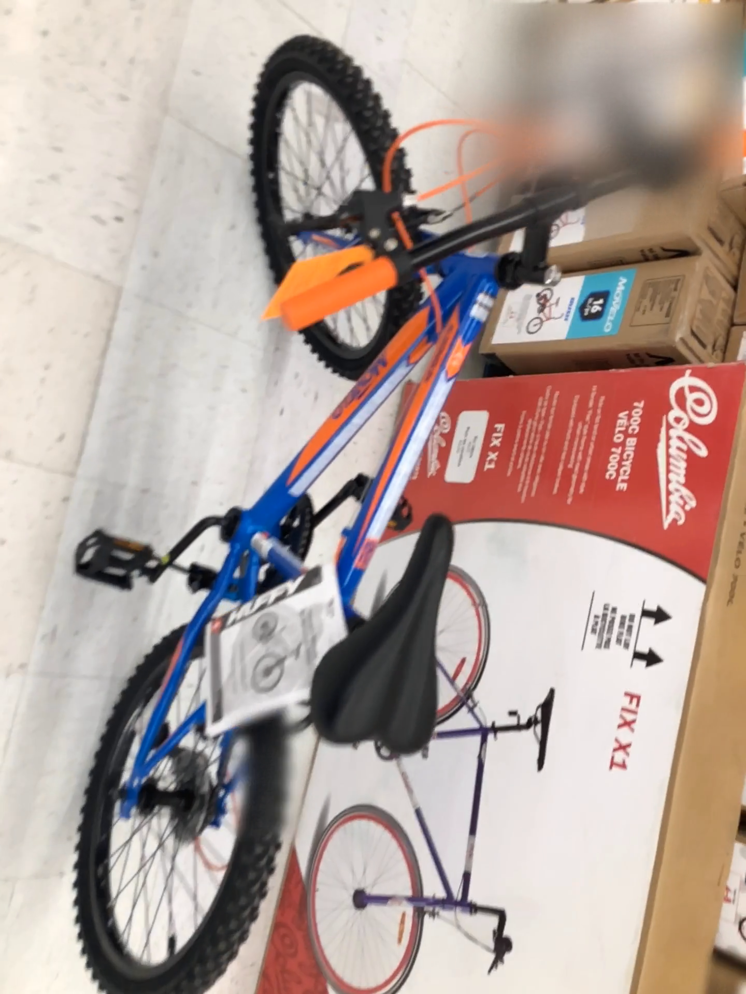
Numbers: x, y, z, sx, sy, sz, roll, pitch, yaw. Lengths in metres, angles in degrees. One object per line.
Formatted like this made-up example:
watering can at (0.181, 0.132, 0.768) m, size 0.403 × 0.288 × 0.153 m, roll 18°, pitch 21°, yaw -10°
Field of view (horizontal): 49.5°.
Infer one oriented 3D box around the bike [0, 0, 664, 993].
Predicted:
bike at (-0.186, -0.026, 1.062) m, size 0.587 × 0.870 × 1.314 m, roll 17°, pitch 77°, yaw -43°
